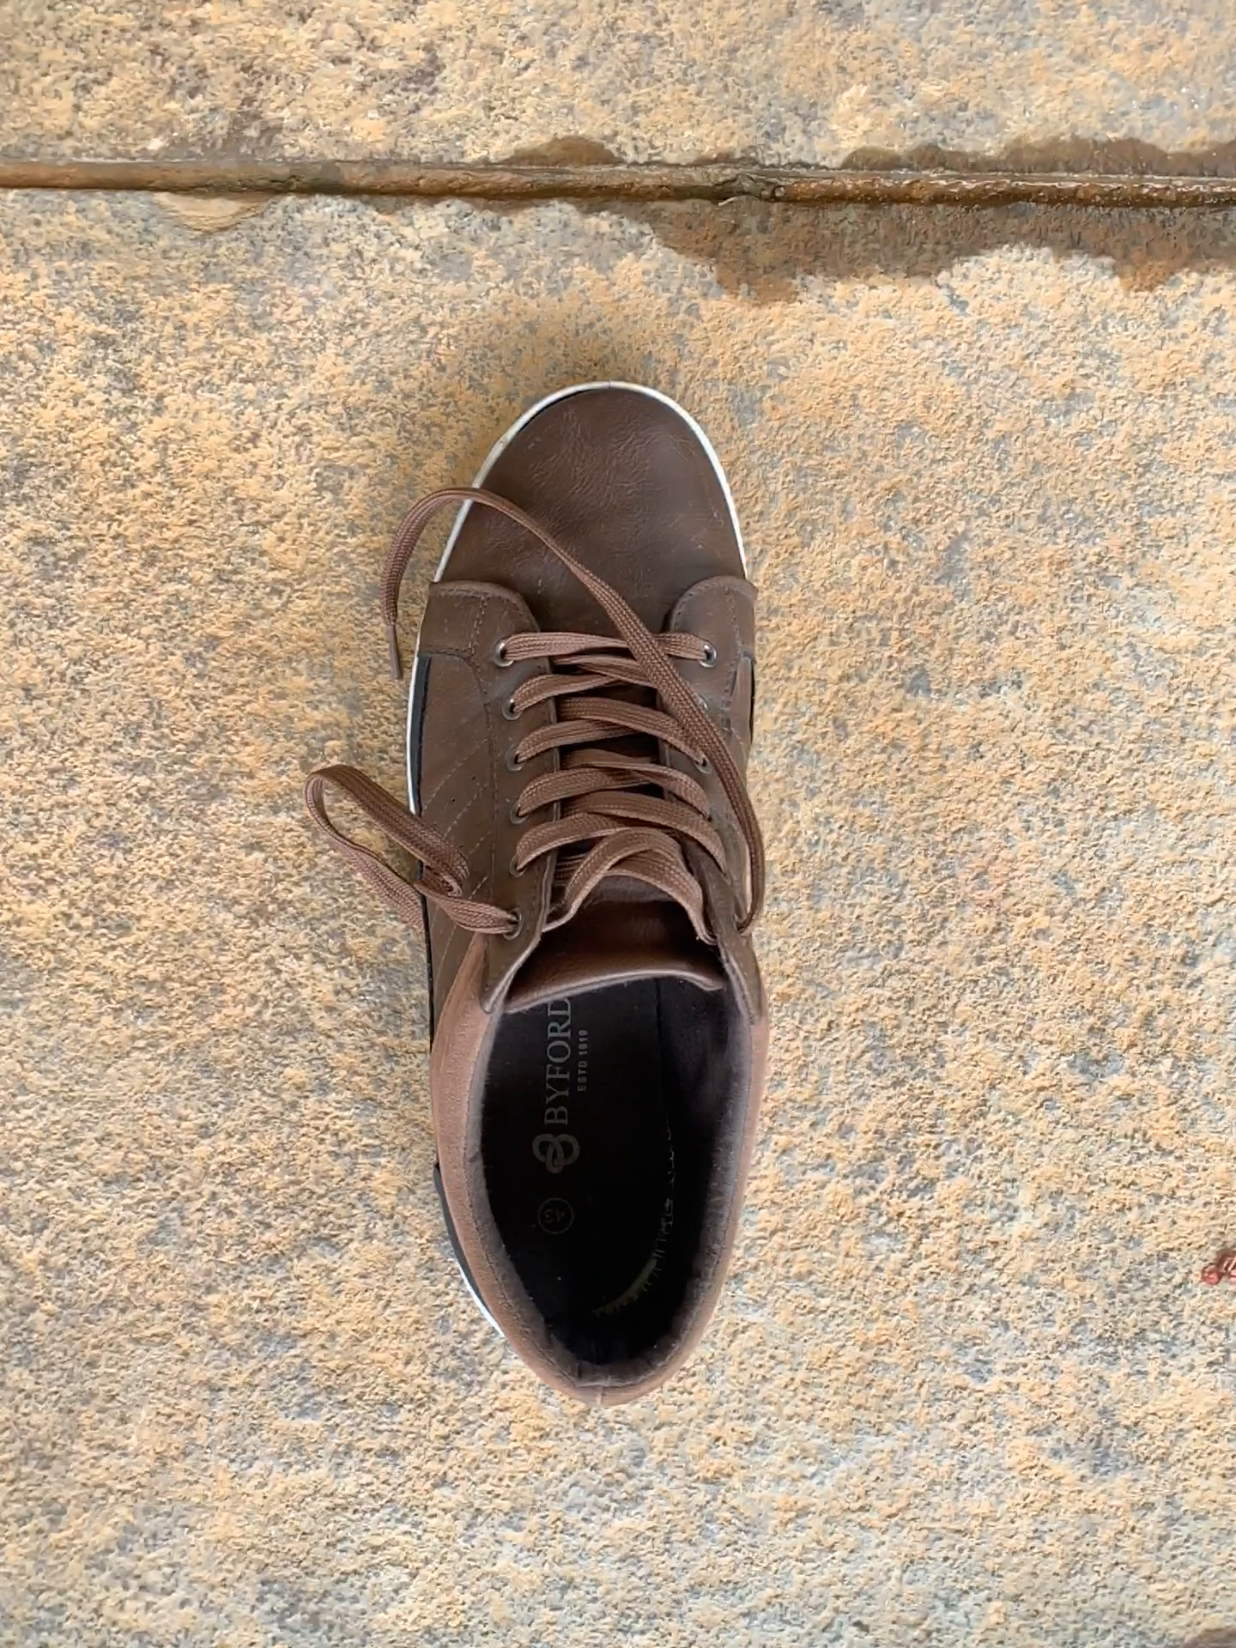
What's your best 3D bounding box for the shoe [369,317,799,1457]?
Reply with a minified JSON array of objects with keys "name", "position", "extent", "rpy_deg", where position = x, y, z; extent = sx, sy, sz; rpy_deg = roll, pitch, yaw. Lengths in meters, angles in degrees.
[{"name":"shoe","position":[-0.011,0.014,0.375],"extent":[0.110,0.080,0.300],"rpy_deg":[0,86,-1]}]
